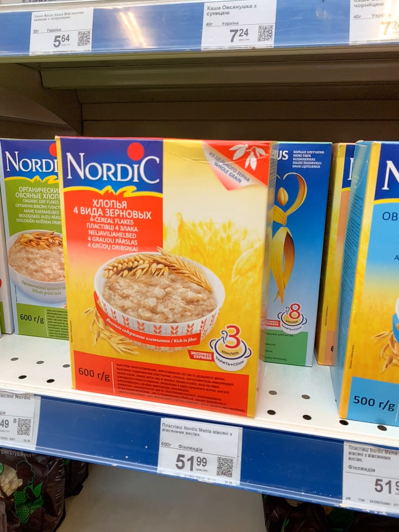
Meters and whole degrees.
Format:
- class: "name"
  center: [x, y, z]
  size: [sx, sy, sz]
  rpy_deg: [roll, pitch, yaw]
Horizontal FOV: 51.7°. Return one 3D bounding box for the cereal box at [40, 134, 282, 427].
- class: "cereal box"
  center: [-0.022, 0.001, 0.311]
  size: [0.150, 0.189, 0.080]
  rpy_deg: [5, 15, 14]
